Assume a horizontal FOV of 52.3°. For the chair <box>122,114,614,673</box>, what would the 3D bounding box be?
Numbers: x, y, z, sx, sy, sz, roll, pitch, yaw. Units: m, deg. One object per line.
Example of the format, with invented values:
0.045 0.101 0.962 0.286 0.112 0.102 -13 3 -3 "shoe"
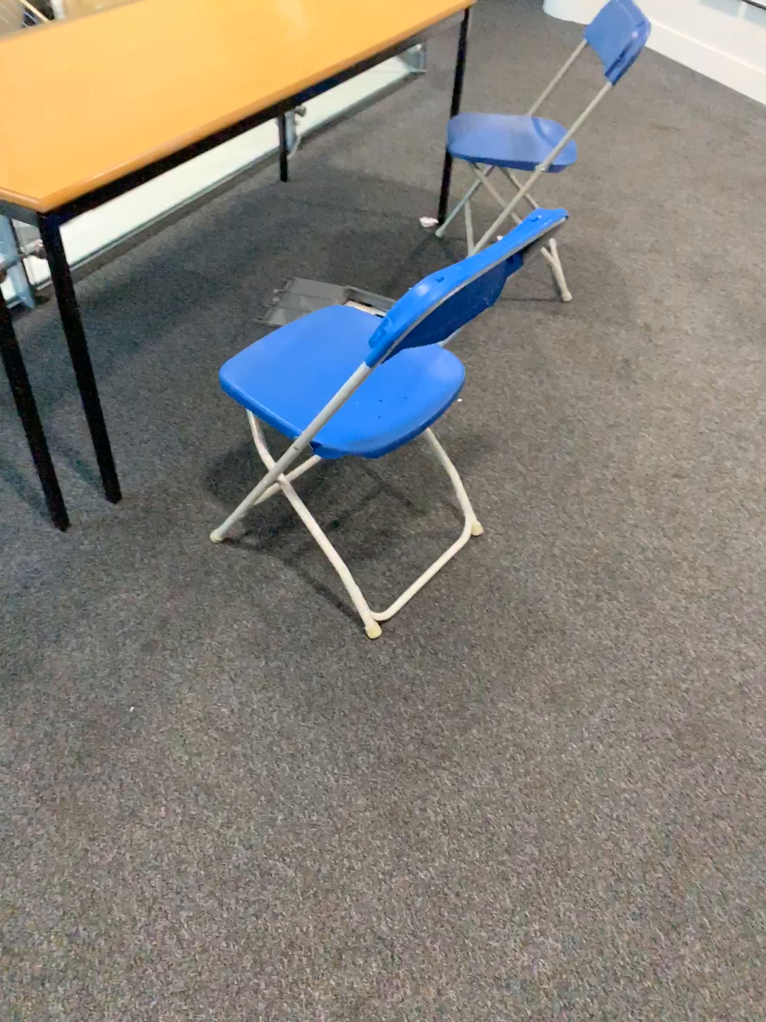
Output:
-0.030 -0.227 1.453 0.552 0.713 0.533 31 50 25 "chair"
